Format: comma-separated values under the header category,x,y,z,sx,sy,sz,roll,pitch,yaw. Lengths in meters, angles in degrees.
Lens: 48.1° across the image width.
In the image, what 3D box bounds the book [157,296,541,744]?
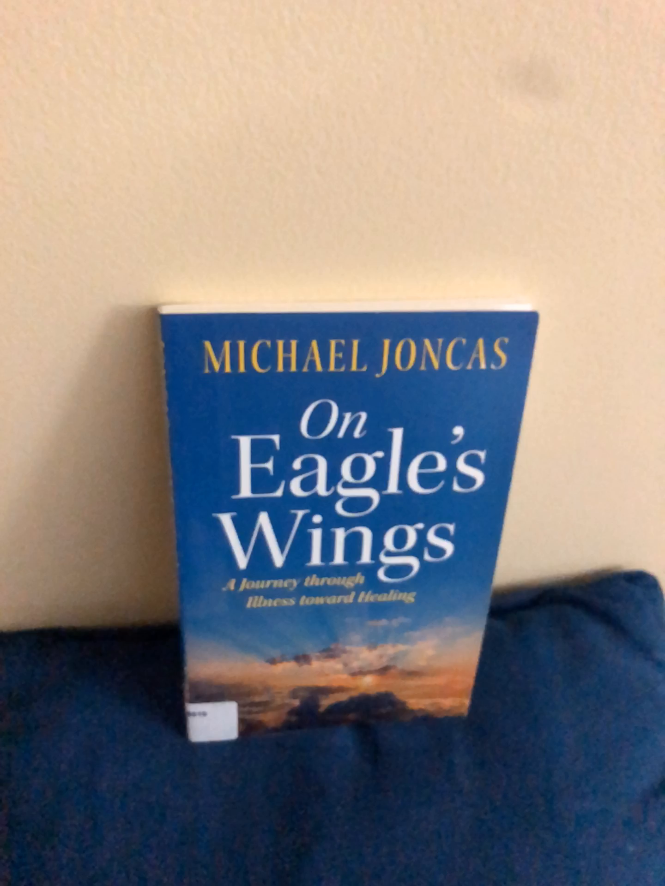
category,x,y,z,sx,sy,sz,roll,pitch,yaw
book,0.003,0.042,0.319,0.139,0.210,0.014,-2,27,-10
